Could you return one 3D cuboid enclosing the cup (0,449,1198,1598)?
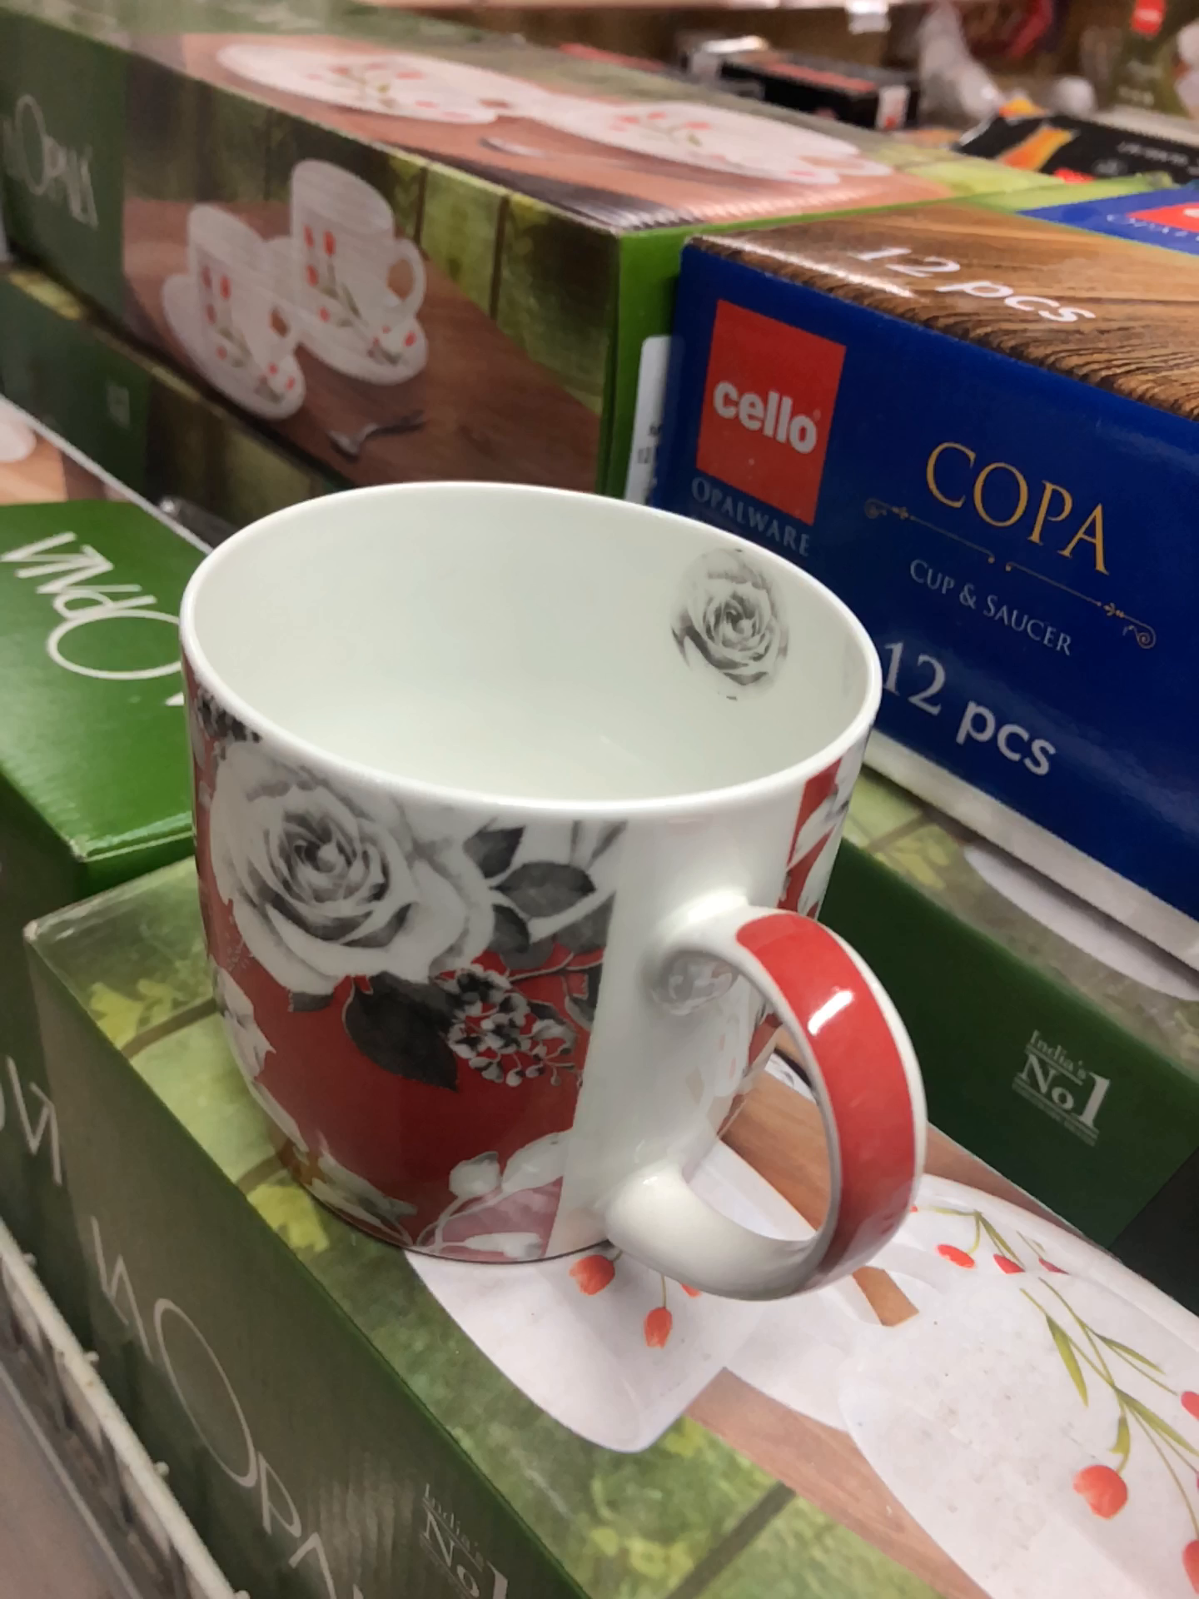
[{"bbox_3d":[-0.010,0.014,0.167,0.090,0.070,0.110,-19,42,-36],"label":"cup"}]
